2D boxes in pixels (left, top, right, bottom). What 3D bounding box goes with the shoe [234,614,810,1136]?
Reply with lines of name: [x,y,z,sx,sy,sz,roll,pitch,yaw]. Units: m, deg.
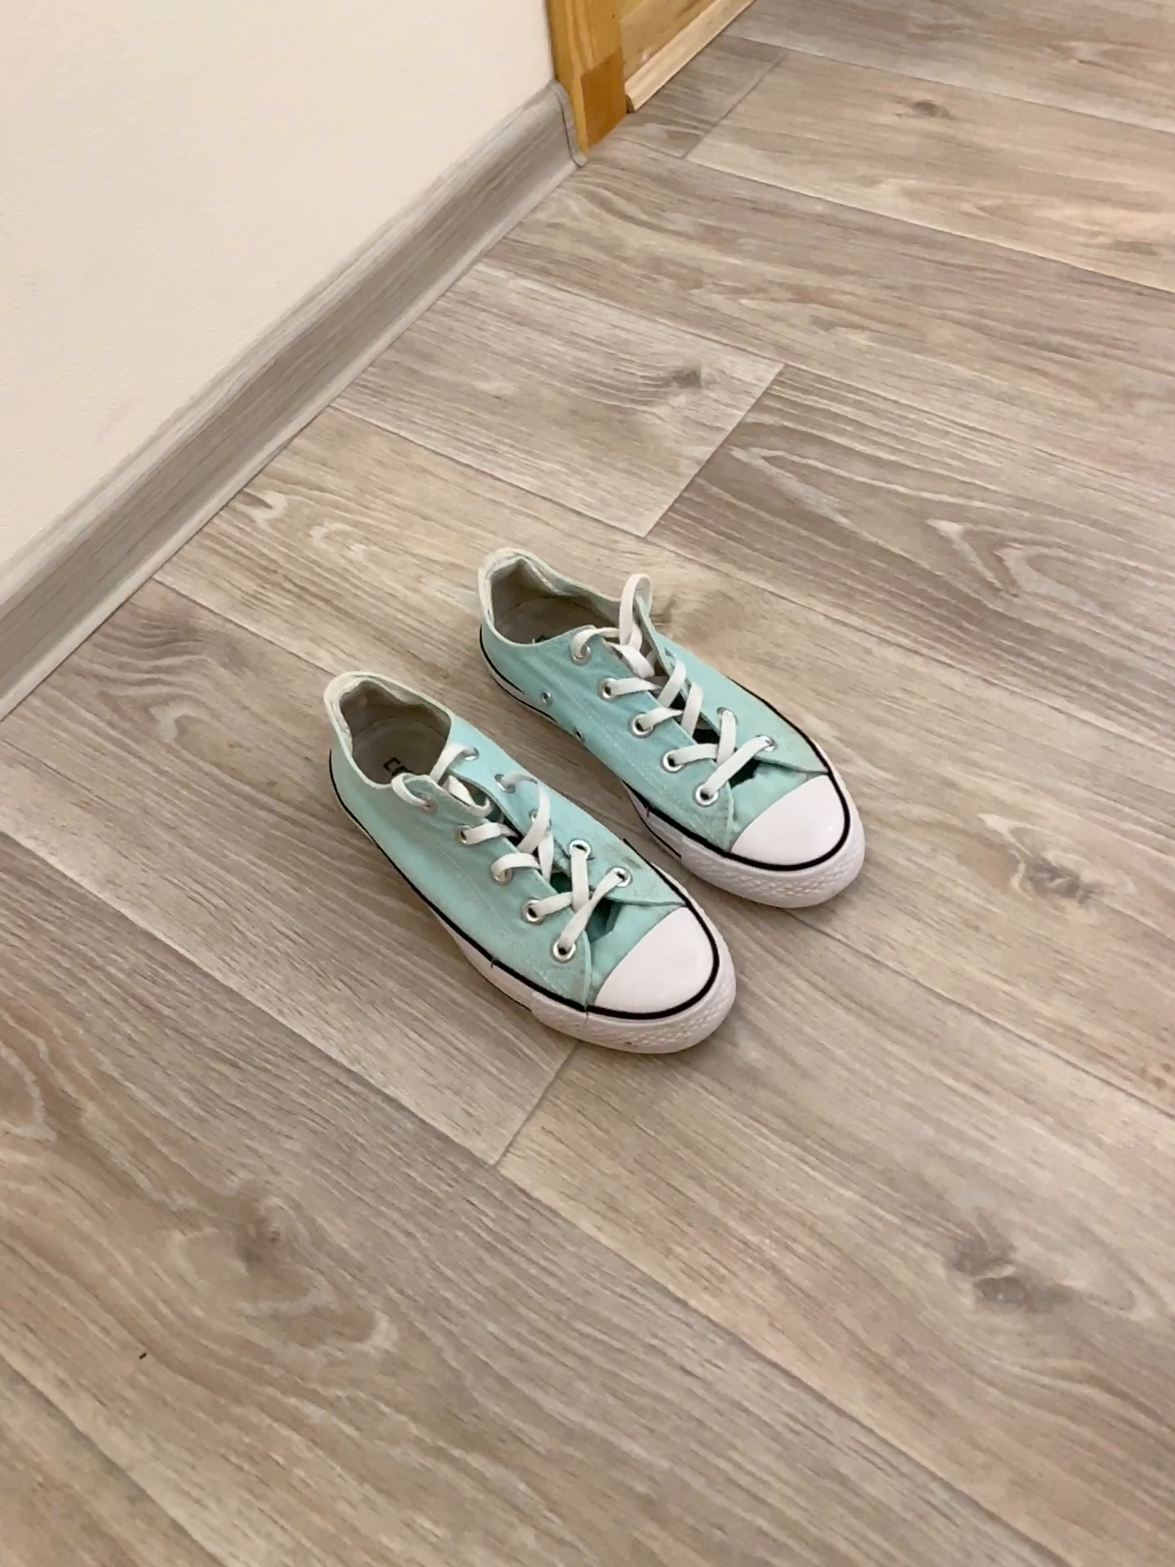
shoe: [-0.034,0.031,0.531,0.251,0.060,0.092,35,67,25]

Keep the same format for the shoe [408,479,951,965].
shoe: [0.036,-0.039,0.577,0.100,0.060,0.251,-40,61,-18]
